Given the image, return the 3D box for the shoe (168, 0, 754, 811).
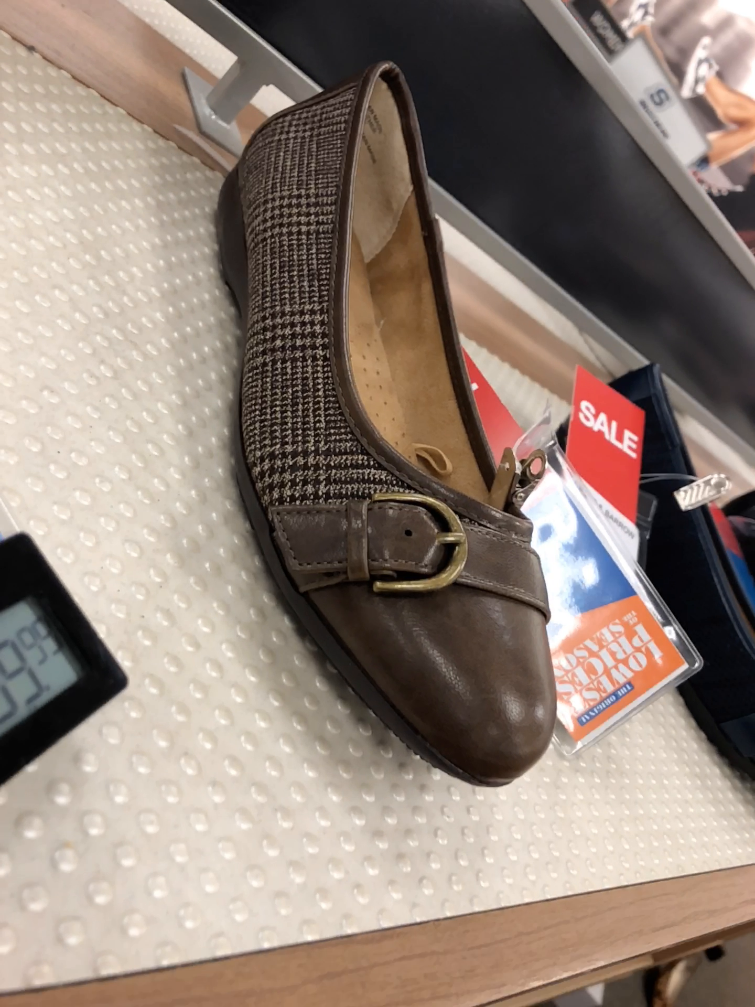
[{"bbox_3d":[0.009,-0.054,0.276,0.093,0.079,0.278,23,39,-44],"label":"shoe"}]
